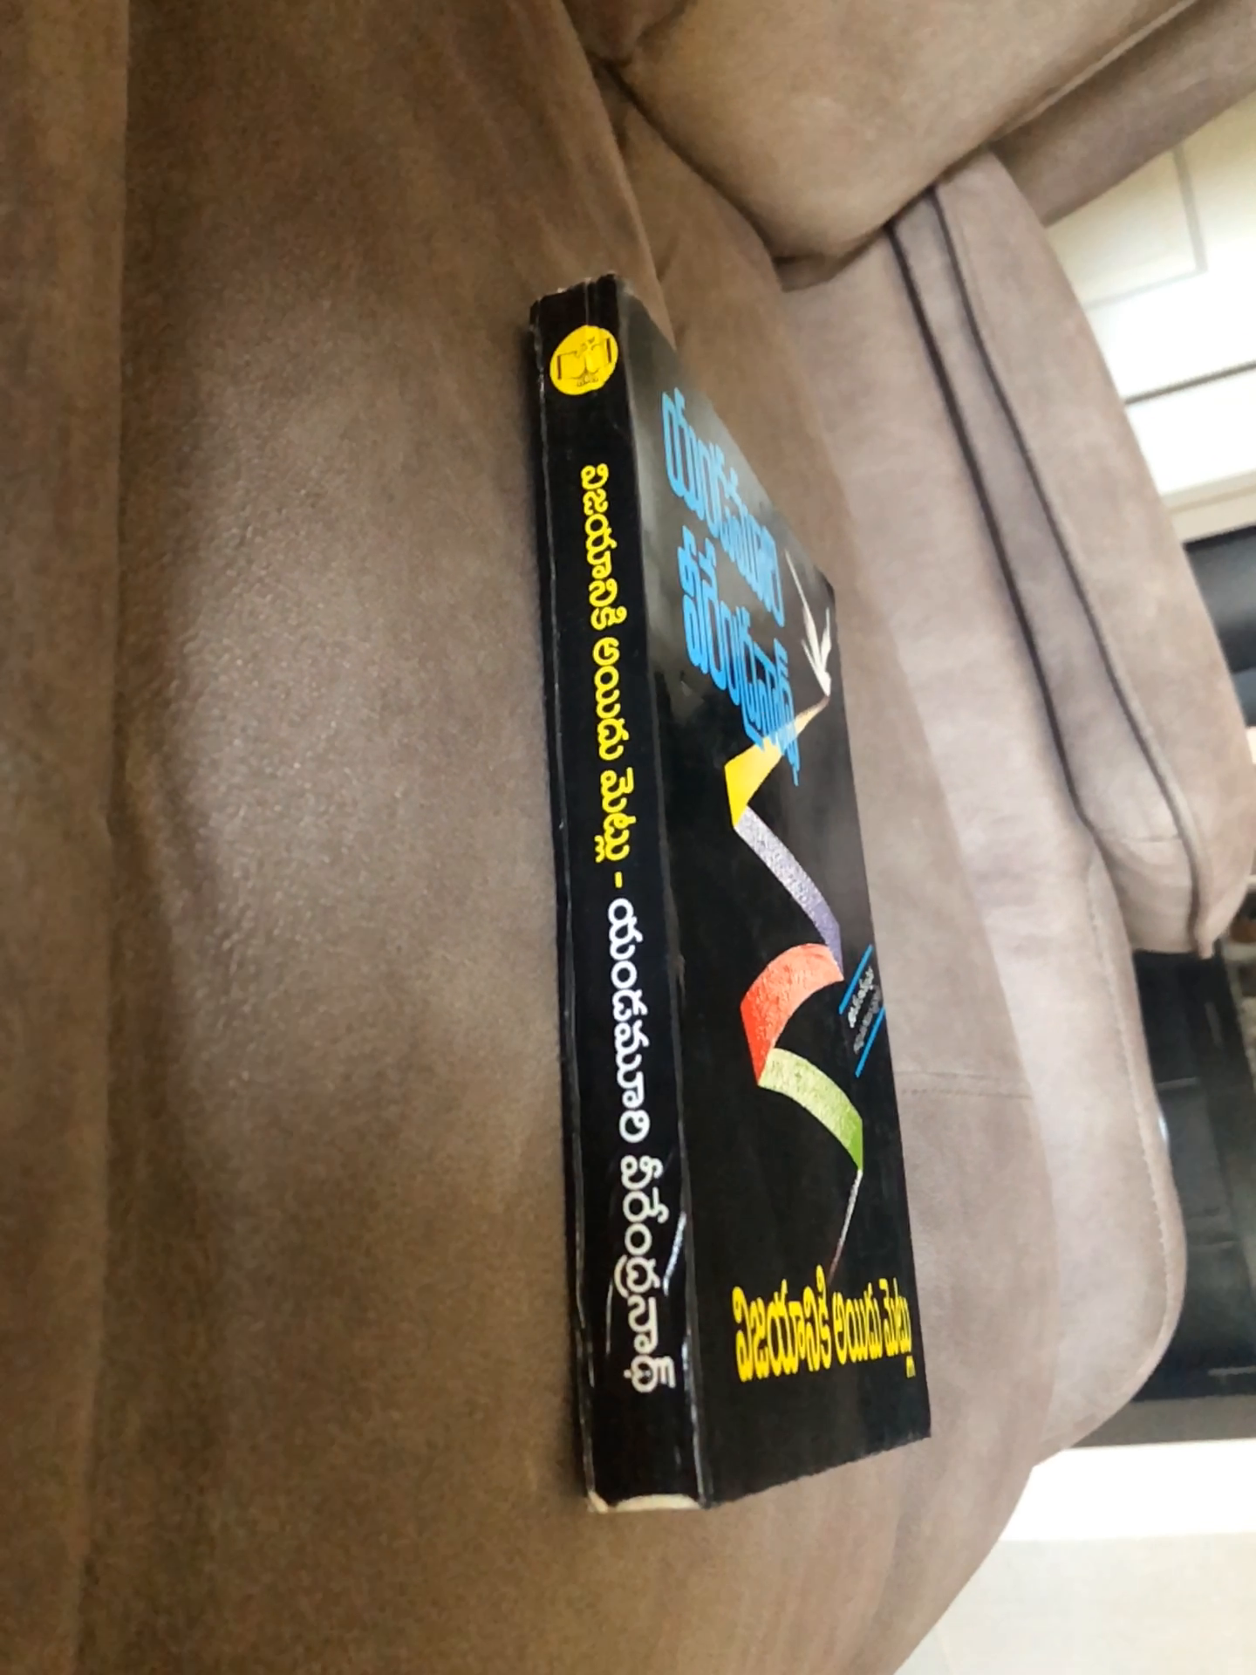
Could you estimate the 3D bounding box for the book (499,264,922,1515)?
[{"bbox_3d":[0.021,0.016,0.292,0.145,0.026,0.212,36,48,-60],"label":"book"}]
